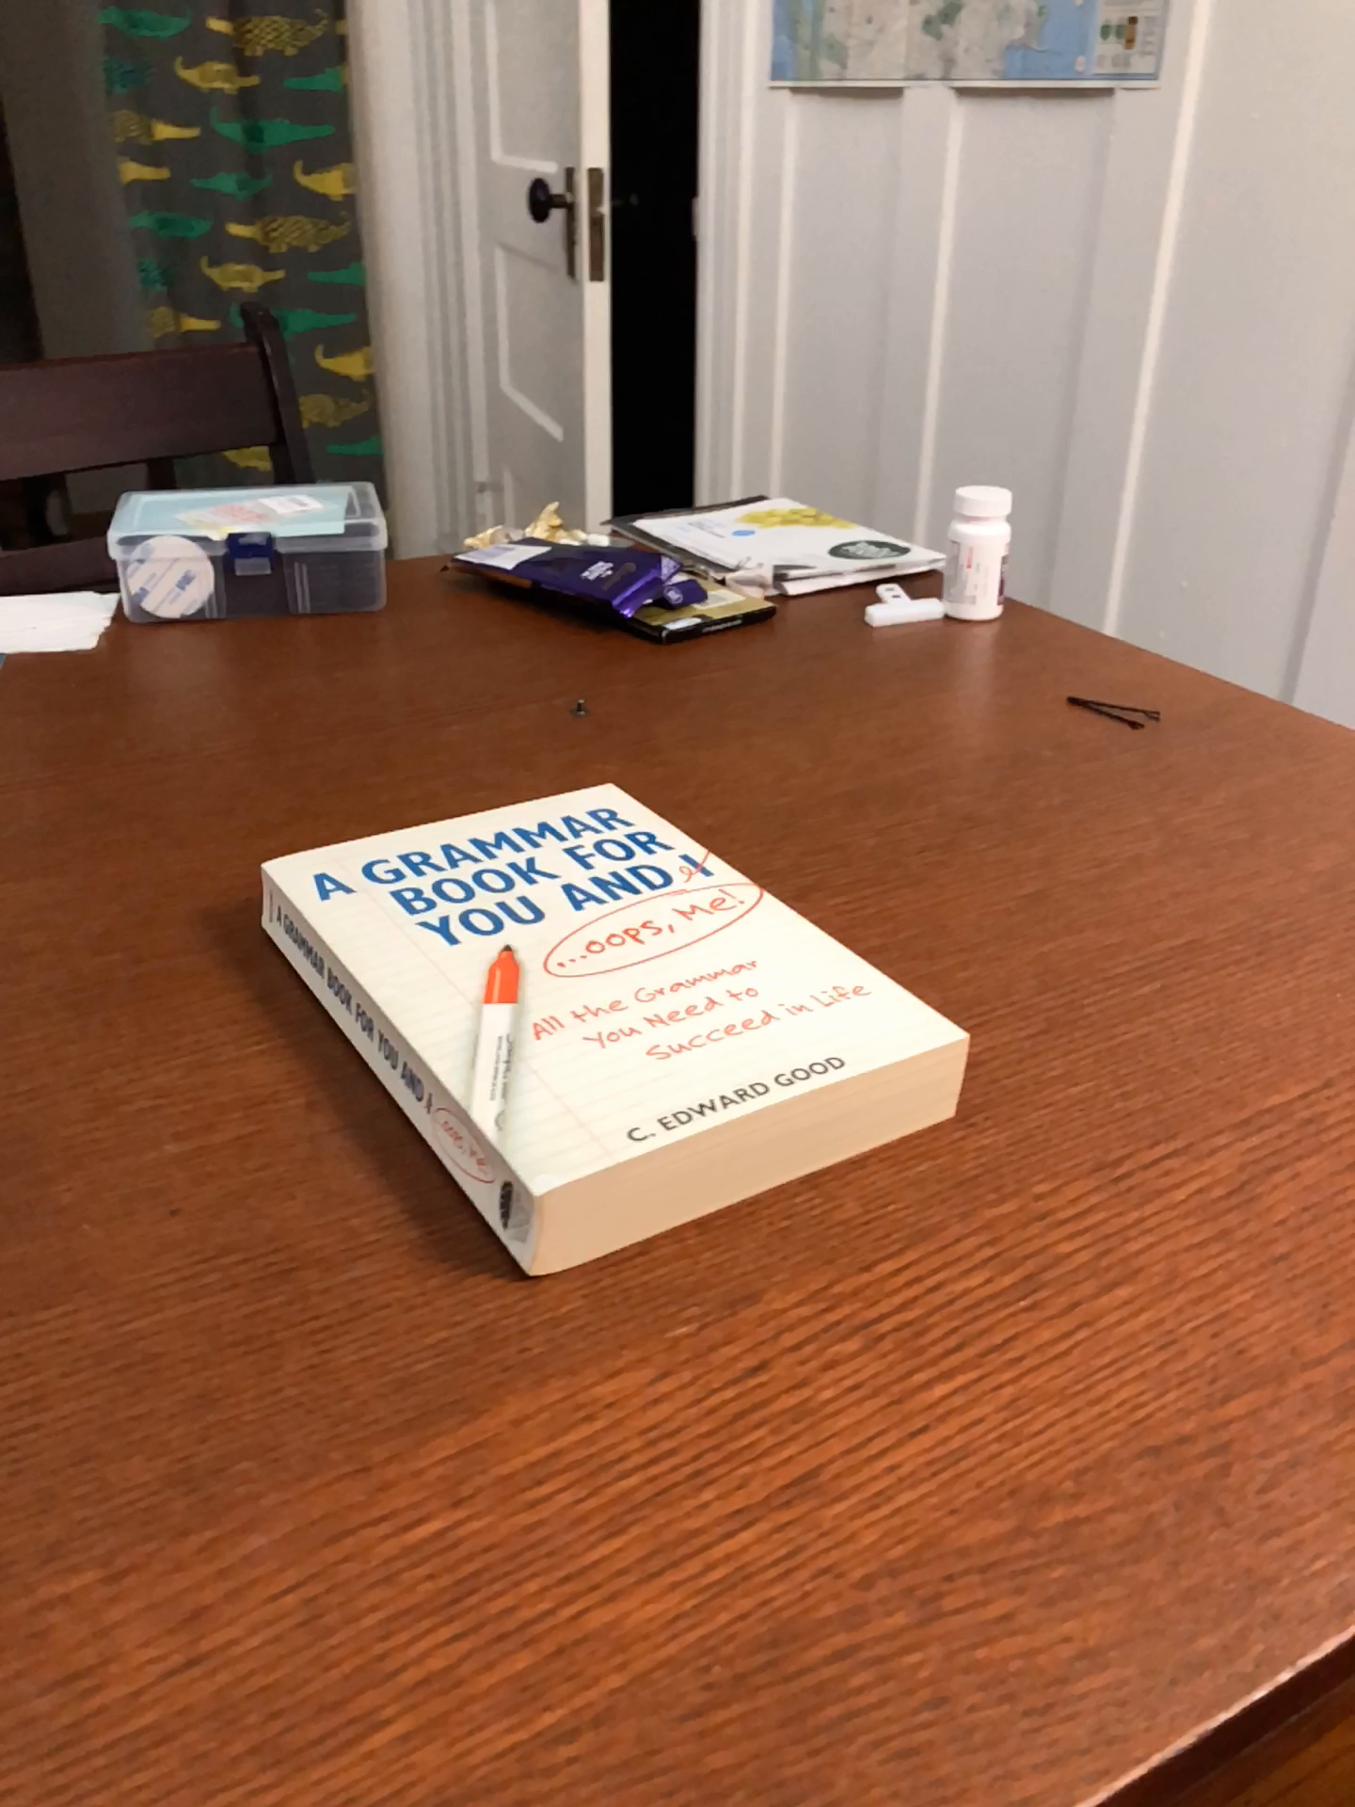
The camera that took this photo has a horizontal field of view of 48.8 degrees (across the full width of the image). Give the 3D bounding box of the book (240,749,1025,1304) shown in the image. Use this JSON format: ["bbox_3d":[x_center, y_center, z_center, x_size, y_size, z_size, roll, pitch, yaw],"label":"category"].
[{"bbox_3d":[-0.029,0.020,0.518,0.170,0.040,0.241,-15,32,-28],"label":"book"}]
